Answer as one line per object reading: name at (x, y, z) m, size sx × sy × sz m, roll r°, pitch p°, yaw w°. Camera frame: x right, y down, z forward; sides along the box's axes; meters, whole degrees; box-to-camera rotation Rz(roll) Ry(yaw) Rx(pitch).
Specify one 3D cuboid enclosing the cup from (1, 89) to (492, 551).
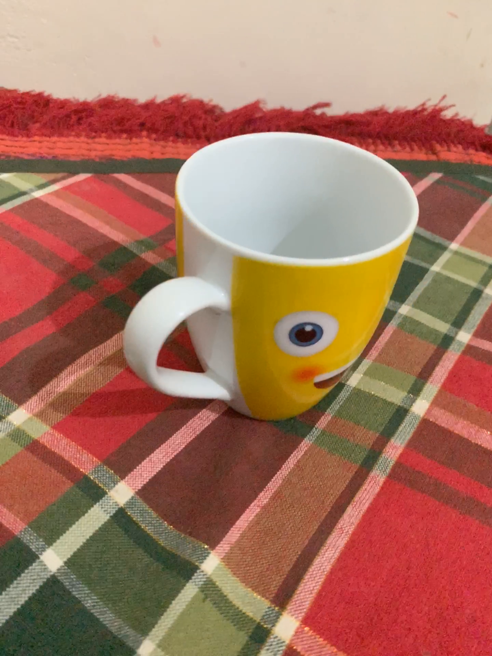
cup at (0.005, -0.012, 0.173) m, size 0.080 × 0.080 × 0.120 m, roll 37°, pitch 53°, yaw 25°
